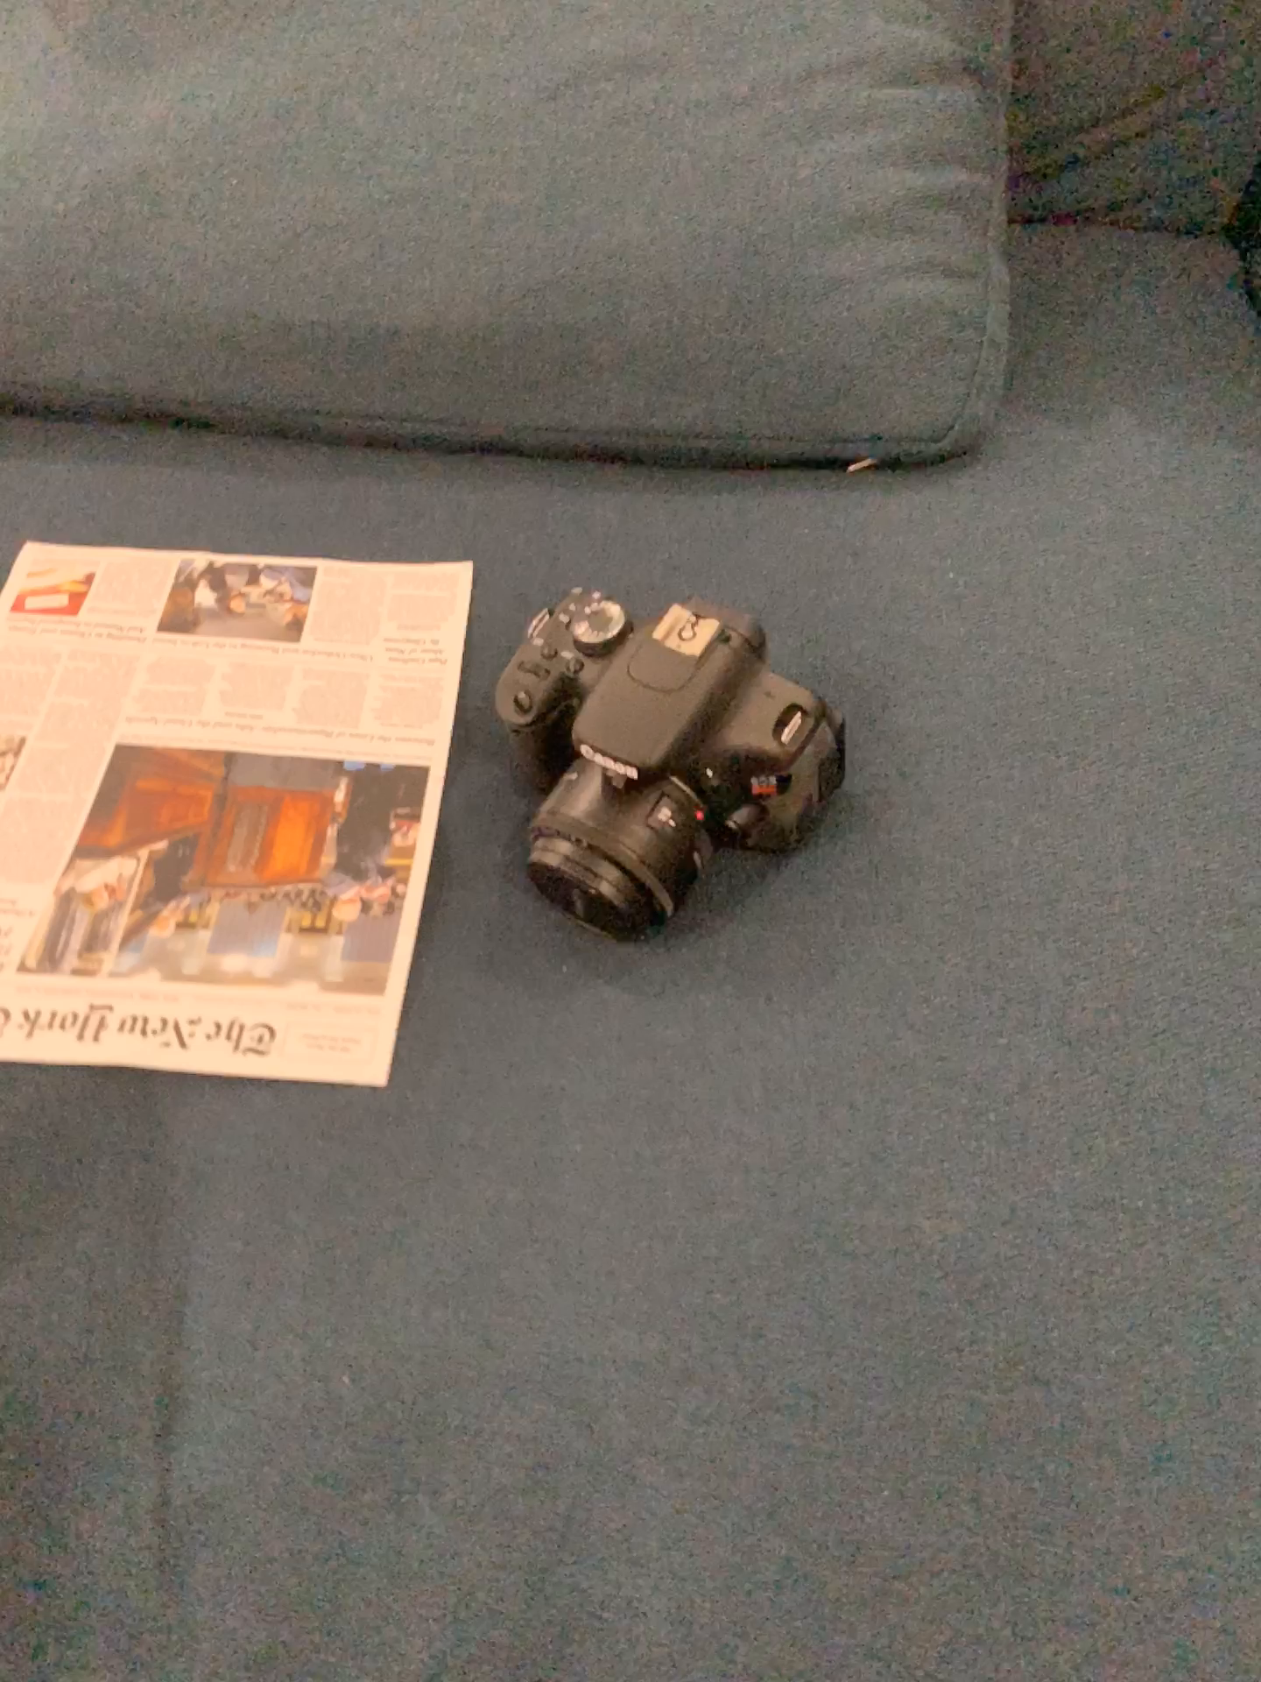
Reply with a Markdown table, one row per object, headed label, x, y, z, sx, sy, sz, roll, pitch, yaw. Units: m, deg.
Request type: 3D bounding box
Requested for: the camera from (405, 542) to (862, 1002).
| label | x | y | z | sx | sy | sz | roll | pitch | yaw |
| --- | --- | --- | --- | --- | --- | --- | --- | --- | --- |
| camera | 0.005 | -0.032 | 0.520 | 0.127 | 0.090 | 0.122 | 25 | 56 | 22 |
